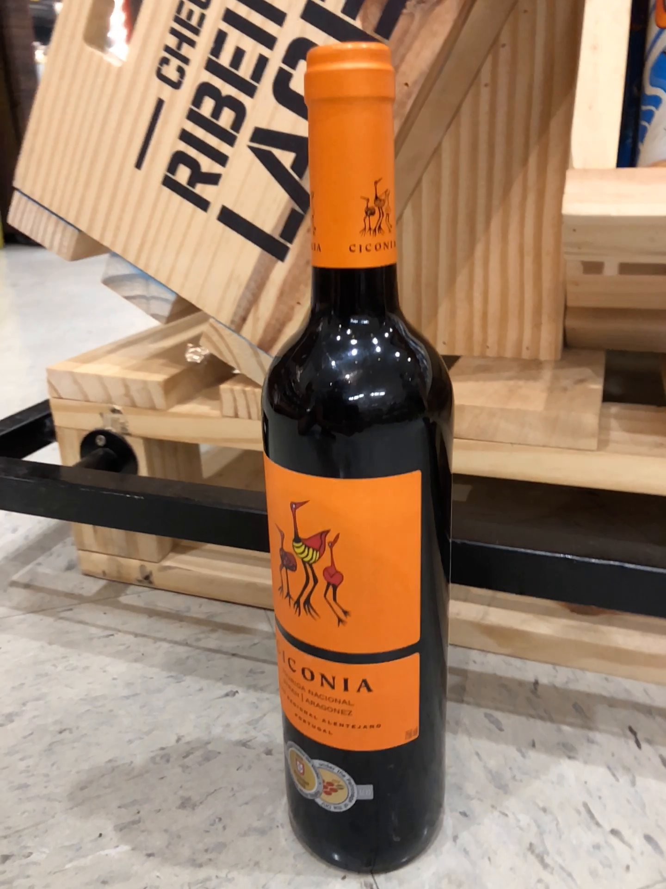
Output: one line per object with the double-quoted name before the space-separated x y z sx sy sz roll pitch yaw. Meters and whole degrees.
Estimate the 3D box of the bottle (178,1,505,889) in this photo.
"bottle" 0.008 0.016 0.294 0.080 0.318 0.070 13 25 34
